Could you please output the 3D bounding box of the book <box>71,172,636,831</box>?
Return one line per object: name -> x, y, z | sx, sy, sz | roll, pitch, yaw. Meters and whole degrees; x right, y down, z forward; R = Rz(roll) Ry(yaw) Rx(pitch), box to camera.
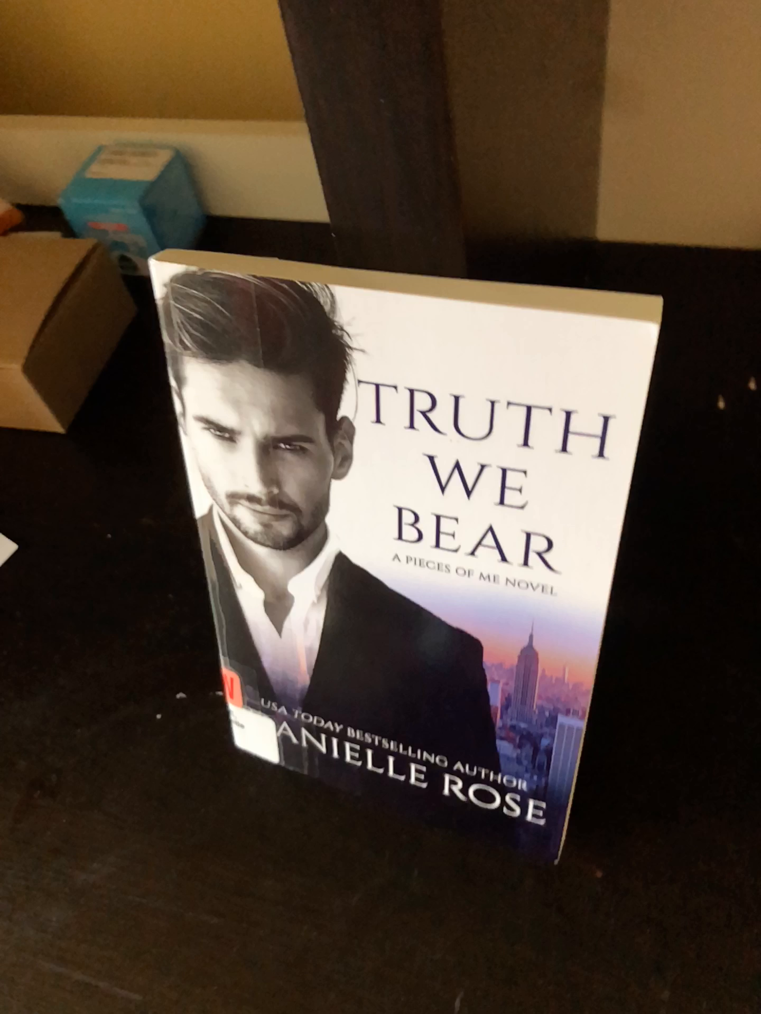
book -> -0.011, 0.011, 0.284 | 0.150, 0.220, 0.020 | 12, 37, 17
